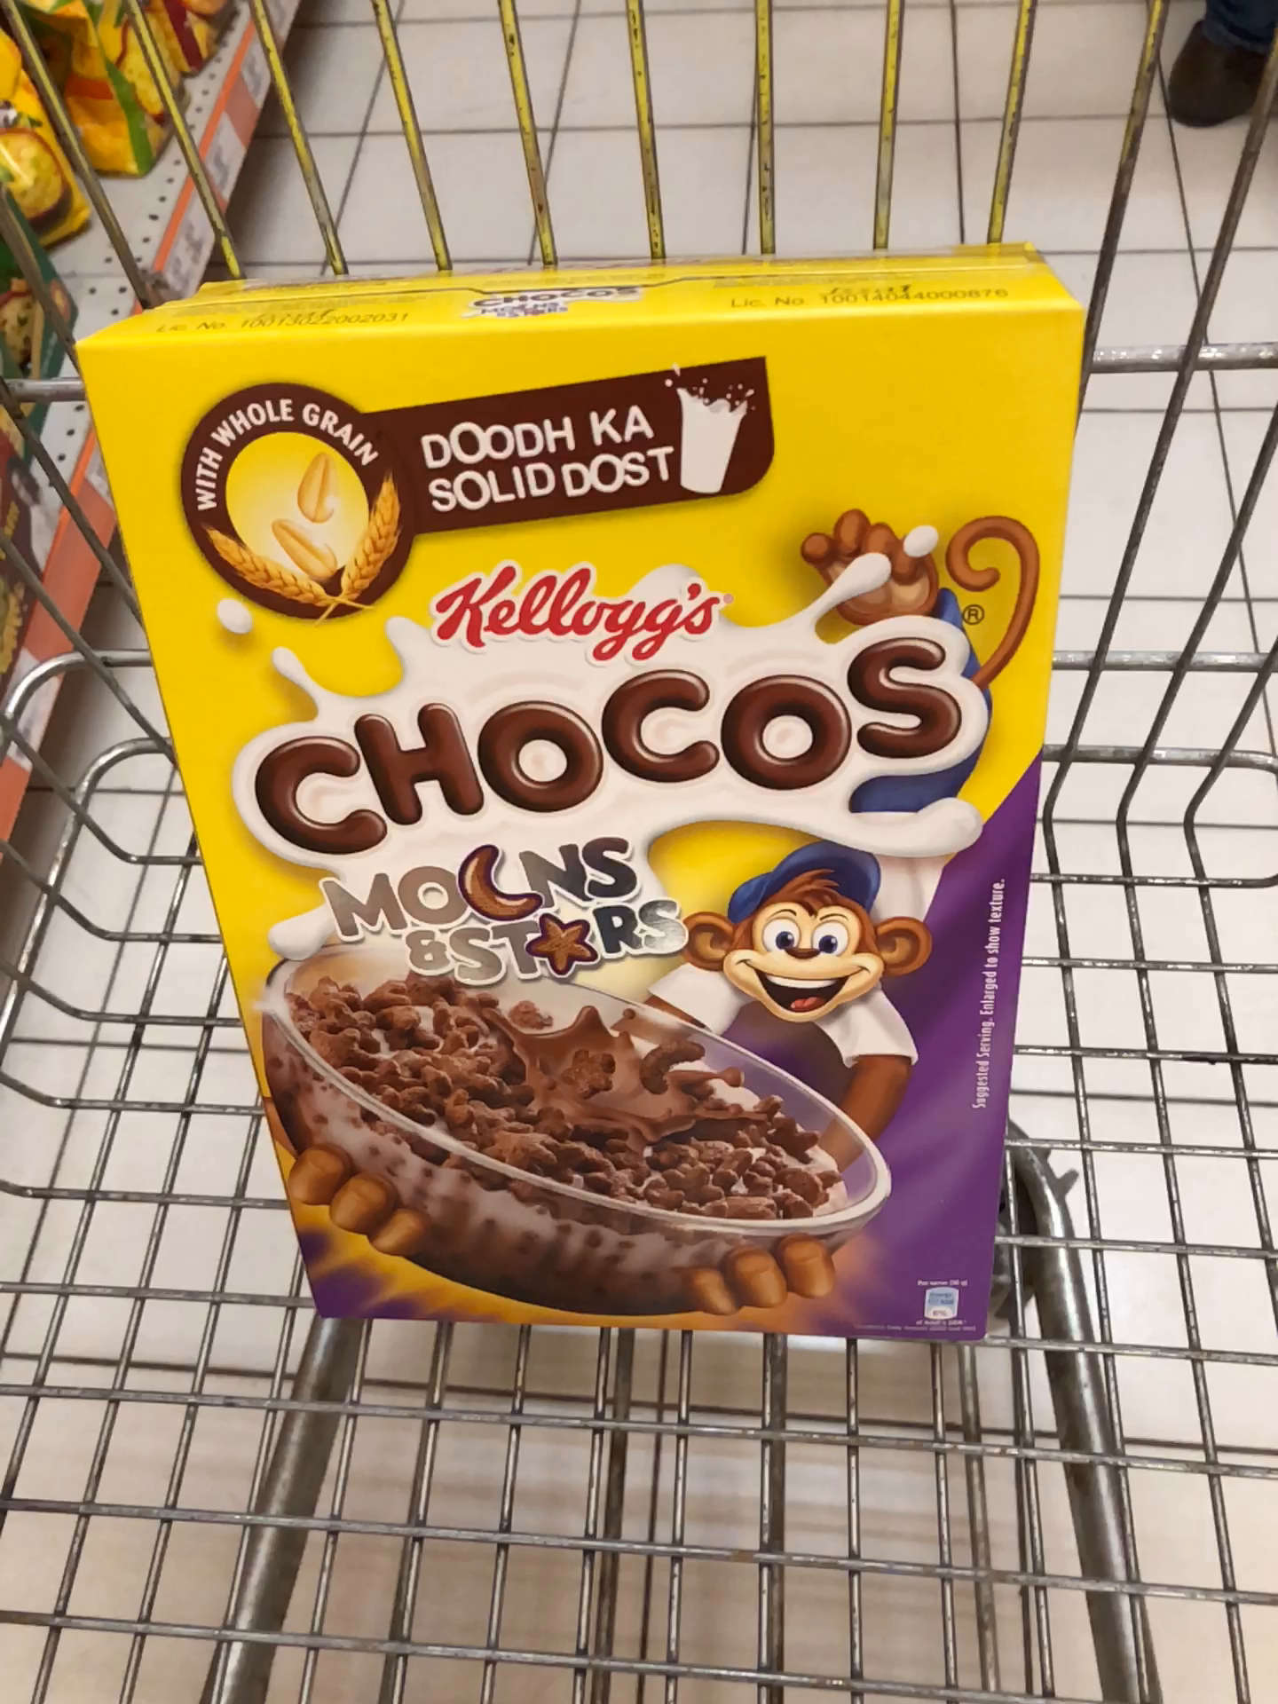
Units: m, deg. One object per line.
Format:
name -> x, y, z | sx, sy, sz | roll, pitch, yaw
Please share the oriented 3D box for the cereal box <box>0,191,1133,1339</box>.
cereal box -> -0.007, -0.006, 0.323 | 0.190, 0.249, 0.070 | 0, 29, 5
